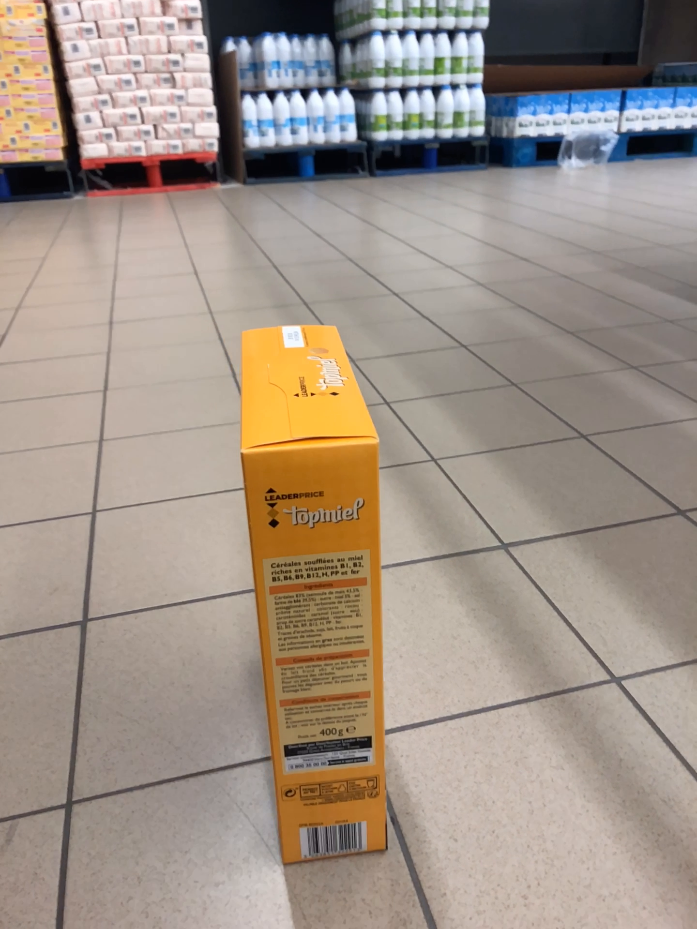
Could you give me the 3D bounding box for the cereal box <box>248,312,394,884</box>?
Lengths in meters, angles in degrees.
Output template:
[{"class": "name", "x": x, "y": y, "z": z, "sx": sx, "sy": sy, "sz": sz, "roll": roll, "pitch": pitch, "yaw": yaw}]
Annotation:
[{"class": "cereal box", "x": -0.019, "y": 0.066, "z": 0.470, "sx": 0.060, "sy": 0.269, "sz": 0.211, "roll": -4, "pitch": 25, "yaw": -5}]
